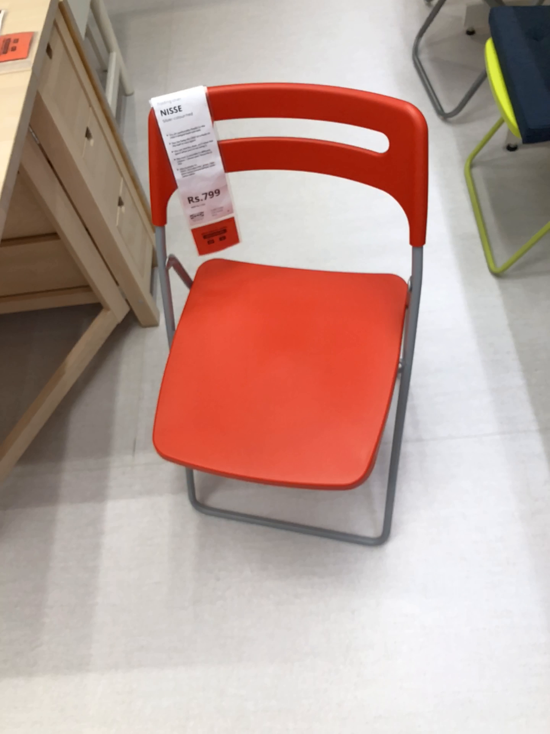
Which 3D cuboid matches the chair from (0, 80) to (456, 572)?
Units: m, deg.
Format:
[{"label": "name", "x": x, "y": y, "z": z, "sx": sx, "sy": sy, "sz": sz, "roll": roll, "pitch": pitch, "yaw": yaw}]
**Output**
[{"label": "chair", "x": 0.005, "y": -0.027, "z": 0.976, "sx": 0.450, "sy": 0.607, "sz": 0.492, "roll": 6, "pitch": 61, "yaw": 12}]
